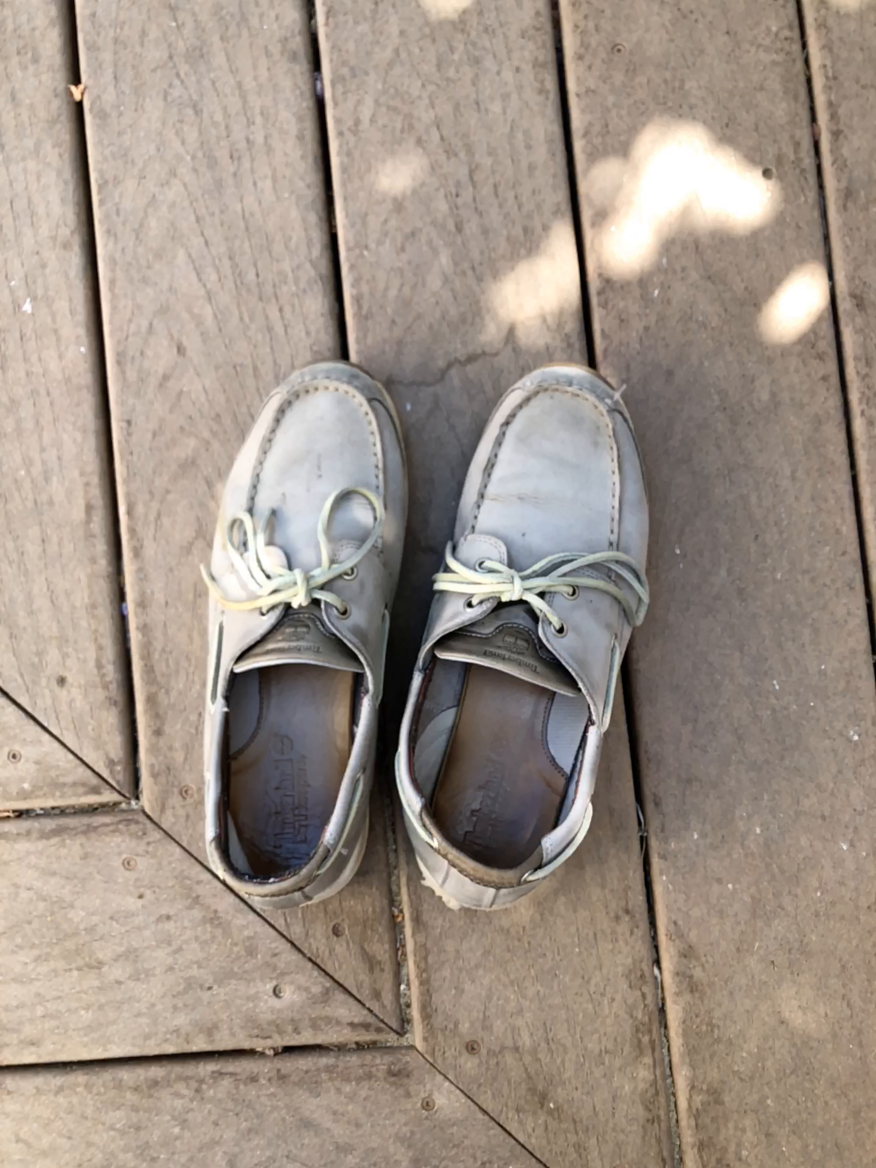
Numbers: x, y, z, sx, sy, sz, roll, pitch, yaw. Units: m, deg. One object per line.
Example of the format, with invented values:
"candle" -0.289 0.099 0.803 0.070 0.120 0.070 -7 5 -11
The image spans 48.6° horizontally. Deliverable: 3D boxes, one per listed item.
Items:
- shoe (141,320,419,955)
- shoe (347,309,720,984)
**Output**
"shoe" -0.078 0.026 0.528 0.119 0.096 0.310 2 87 2
"shoe" 0.050 0.030 0.524 0.121 0.098 0.312 12 87 2
